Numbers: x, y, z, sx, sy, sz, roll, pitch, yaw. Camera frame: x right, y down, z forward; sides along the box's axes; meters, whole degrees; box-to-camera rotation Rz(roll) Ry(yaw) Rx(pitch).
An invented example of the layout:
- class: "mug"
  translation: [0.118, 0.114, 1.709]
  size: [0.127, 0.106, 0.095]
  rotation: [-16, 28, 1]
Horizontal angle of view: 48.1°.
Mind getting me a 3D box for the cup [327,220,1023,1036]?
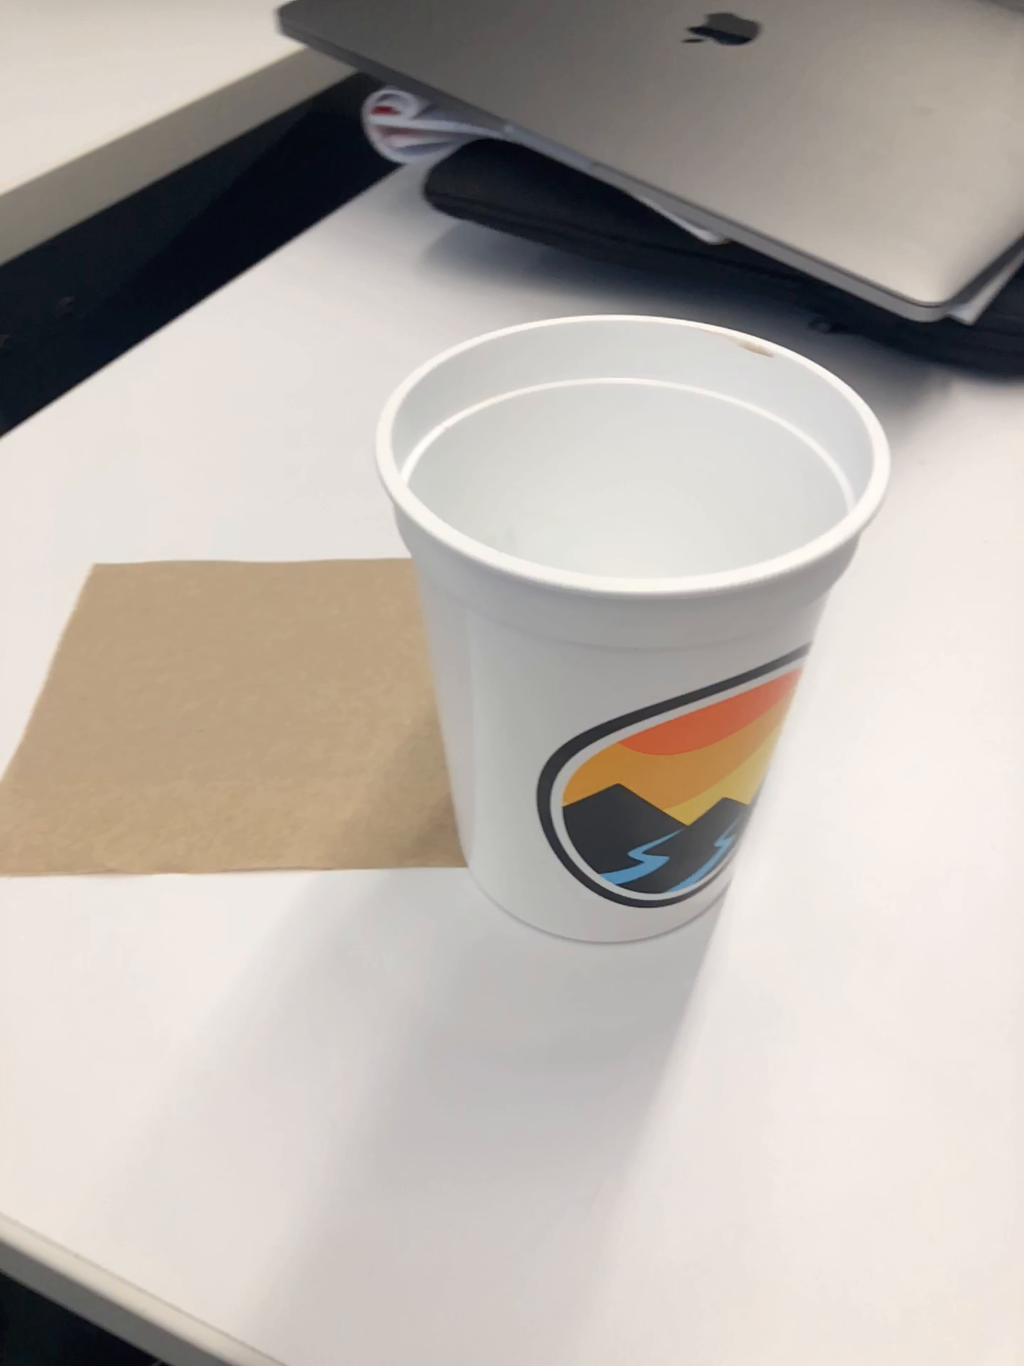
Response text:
- class: "cup"
  translation: [0.029, -0.015, 0.217]
  size: [0.090, 0.100, 0.090]
  rotation: [-1, 41, 1]
